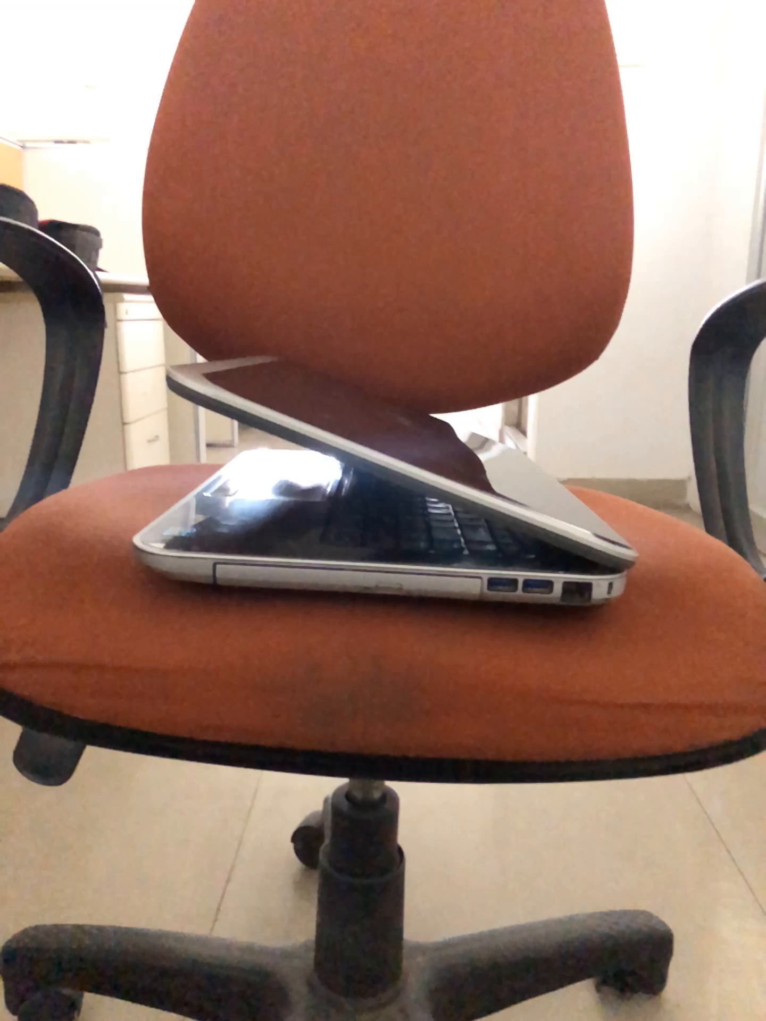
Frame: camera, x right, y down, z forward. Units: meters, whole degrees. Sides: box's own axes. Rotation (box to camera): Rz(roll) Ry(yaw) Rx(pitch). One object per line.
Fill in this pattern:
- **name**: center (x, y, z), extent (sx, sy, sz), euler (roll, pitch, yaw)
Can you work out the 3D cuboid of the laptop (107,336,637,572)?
- **laptop**: center (-0.003, -0.060, 0.560), extent (0.233, 0.091, 0.367), euler (3, 11, 0)
